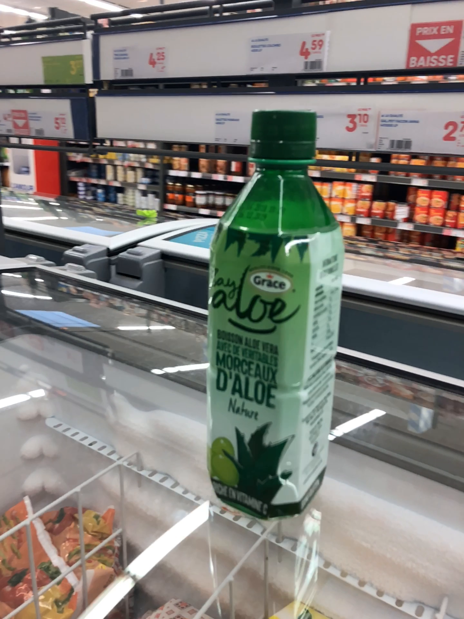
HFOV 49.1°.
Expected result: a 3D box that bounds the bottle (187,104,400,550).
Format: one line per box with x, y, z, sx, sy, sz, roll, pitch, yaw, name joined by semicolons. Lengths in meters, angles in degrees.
0.028;0.005;0.260;0.070;0.199;0.070;2;17;-1;bottle
